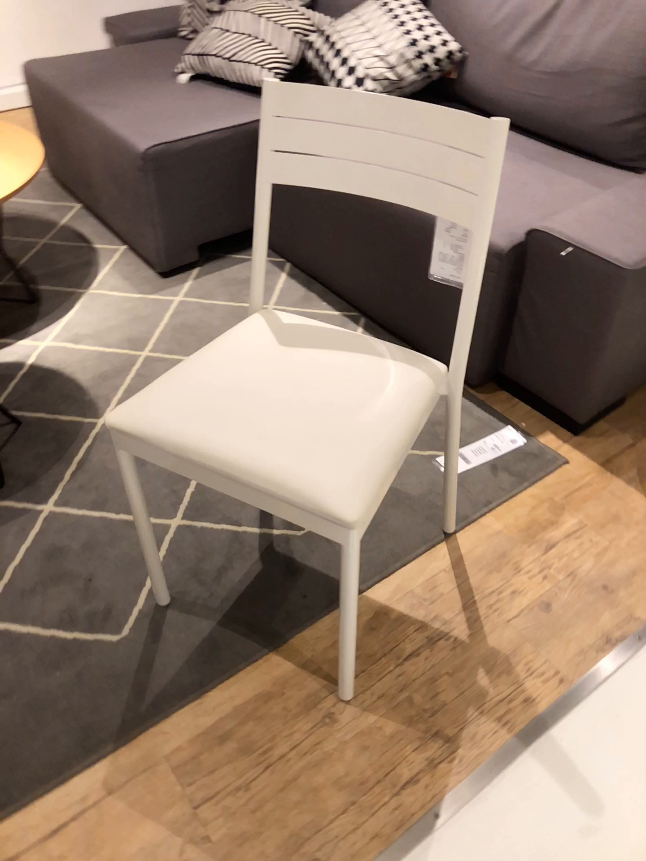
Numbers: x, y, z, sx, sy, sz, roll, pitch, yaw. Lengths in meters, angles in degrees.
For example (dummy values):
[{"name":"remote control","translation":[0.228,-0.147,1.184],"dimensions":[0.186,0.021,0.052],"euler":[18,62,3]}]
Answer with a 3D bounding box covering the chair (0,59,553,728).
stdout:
[{"name":"chair","translation":[-0.022,-0.049,1.060],"dimensions":[0.451,0.774,0.473],"euler":[19,45,21]}]
